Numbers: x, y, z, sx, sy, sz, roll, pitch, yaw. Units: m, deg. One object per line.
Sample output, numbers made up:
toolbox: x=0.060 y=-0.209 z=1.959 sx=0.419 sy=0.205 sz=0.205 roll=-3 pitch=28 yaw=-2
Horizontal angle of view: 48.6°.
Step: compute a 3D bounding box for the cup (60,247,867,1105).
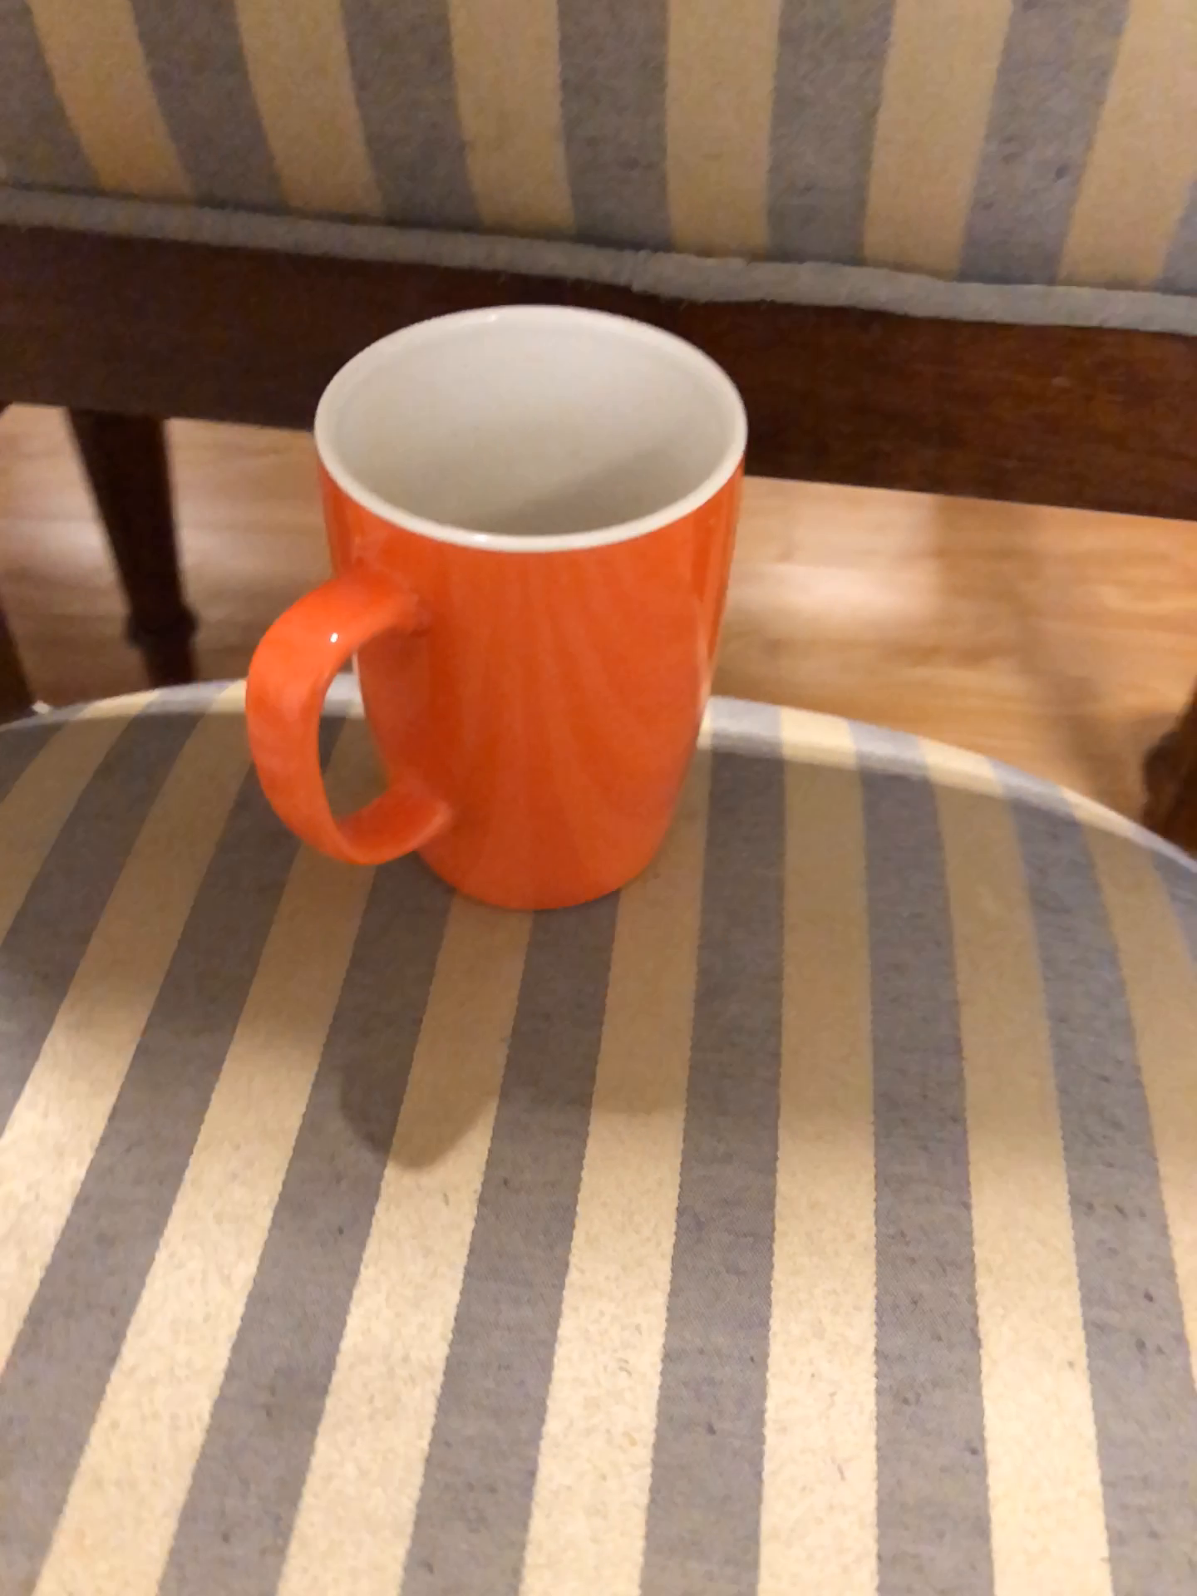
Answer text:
cup: x=-0.019 y=-0.029 z=0.273 sx=0.090 sy=0.099 sz=0.120 roll=25 pitch=52 yaw=19
